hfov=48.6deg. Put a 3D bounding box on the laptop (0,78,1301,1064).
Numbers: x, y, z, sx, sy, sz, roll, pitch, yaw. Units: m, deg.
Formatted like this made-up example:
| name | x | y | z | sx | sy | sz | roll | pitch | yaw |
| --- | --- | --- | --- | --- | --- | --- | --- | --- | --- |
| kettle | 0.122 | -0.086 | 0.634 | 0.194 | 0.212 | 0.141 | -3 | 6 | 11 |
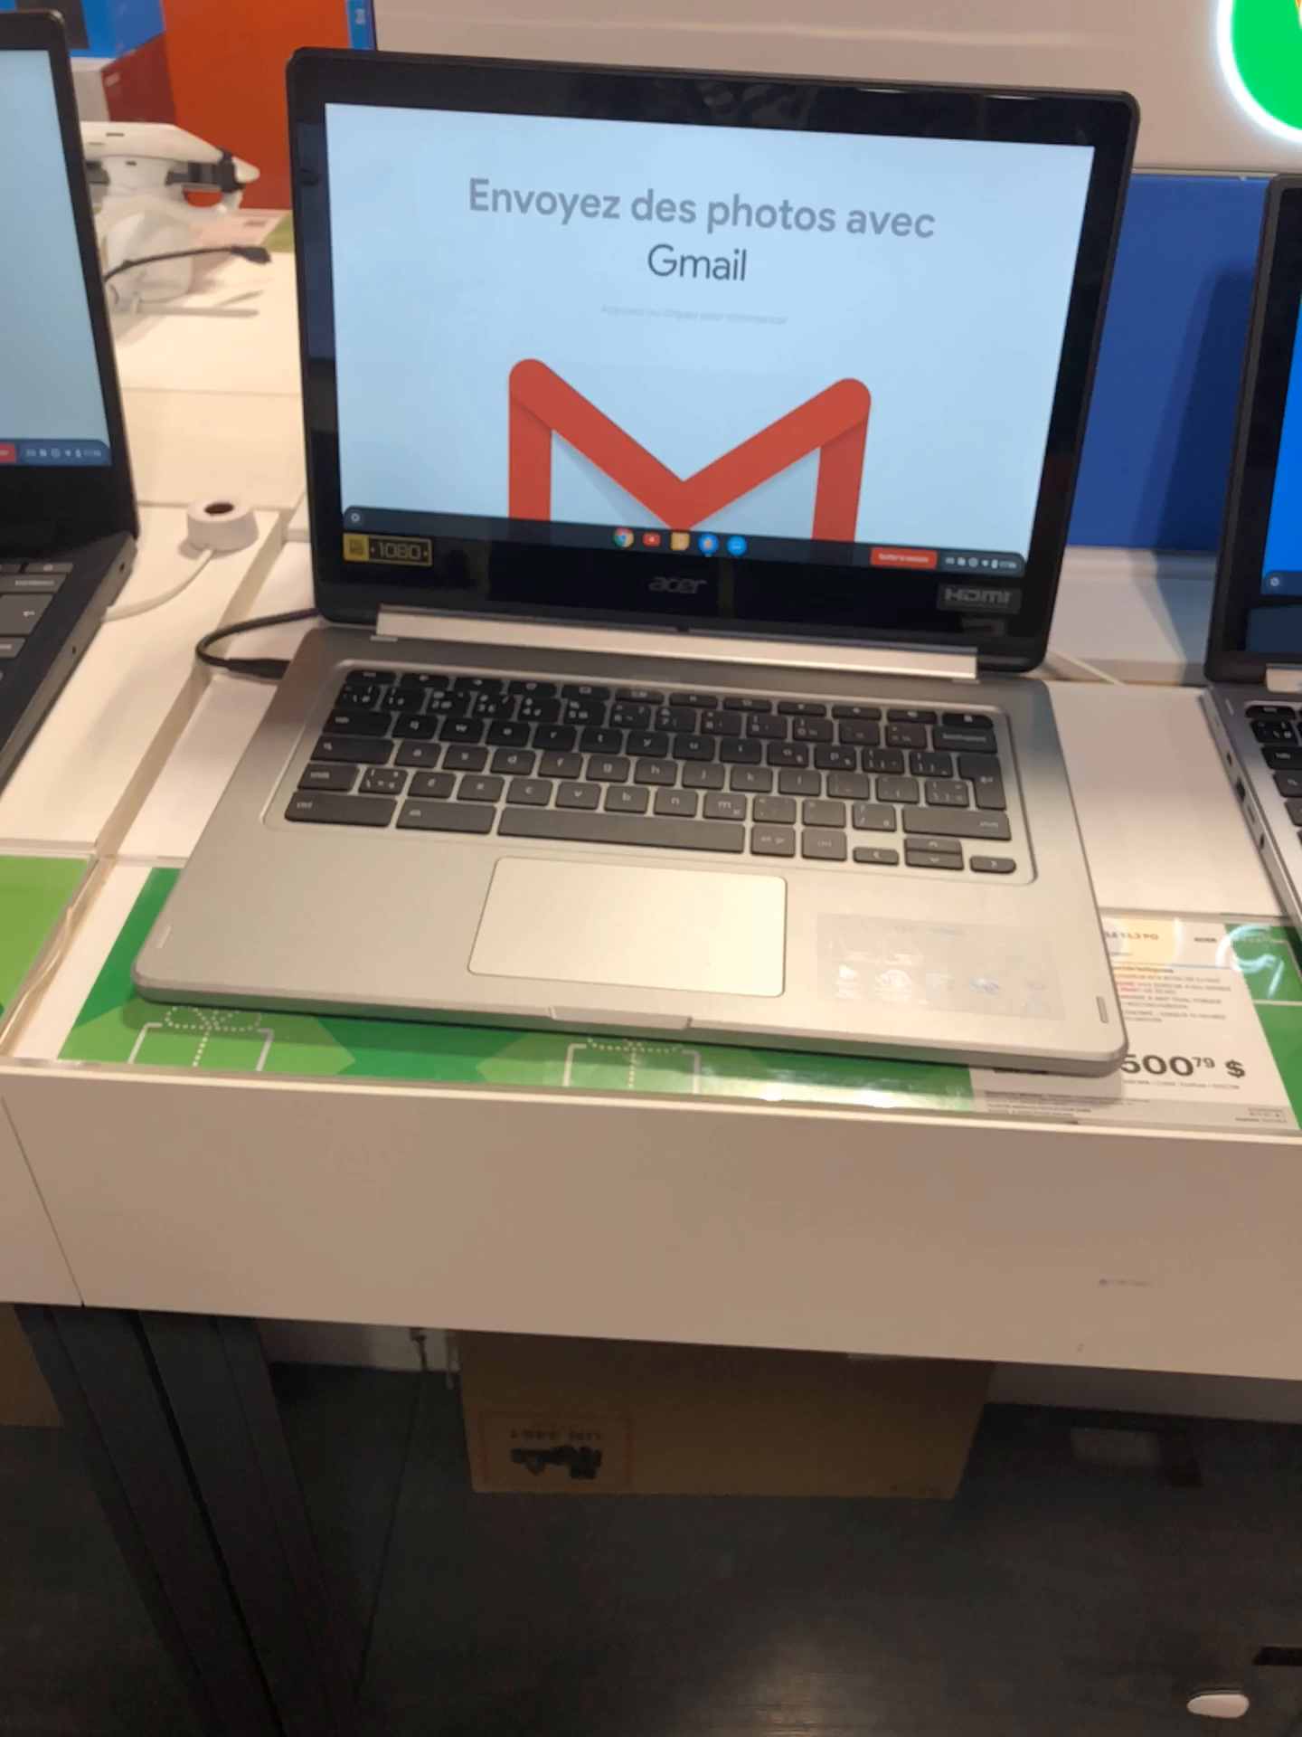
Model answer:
| name | x | y | z | sx | sy | sz | roll | pitch | yaw |
| --- | --- | --- | --- | --- | --- | --- | --- | --- | --- |
| laptop | 0.001 | -0.112 | 0.486 | 0.317 | 0.226 | 0.240 | 4 | 38 | 3 |
